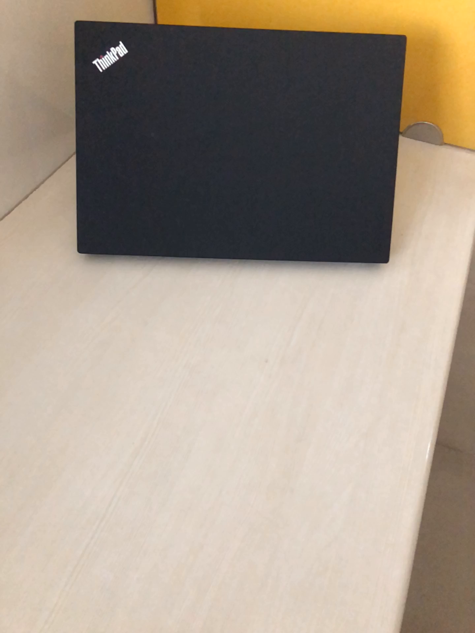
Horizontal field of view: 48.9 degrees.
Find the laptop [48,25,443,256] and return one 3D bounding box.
[{"bbox_3d":[0.002,-0.211,0.611,0.349,0.166,0.241,1,47,-1],"label":"laptop"}]
